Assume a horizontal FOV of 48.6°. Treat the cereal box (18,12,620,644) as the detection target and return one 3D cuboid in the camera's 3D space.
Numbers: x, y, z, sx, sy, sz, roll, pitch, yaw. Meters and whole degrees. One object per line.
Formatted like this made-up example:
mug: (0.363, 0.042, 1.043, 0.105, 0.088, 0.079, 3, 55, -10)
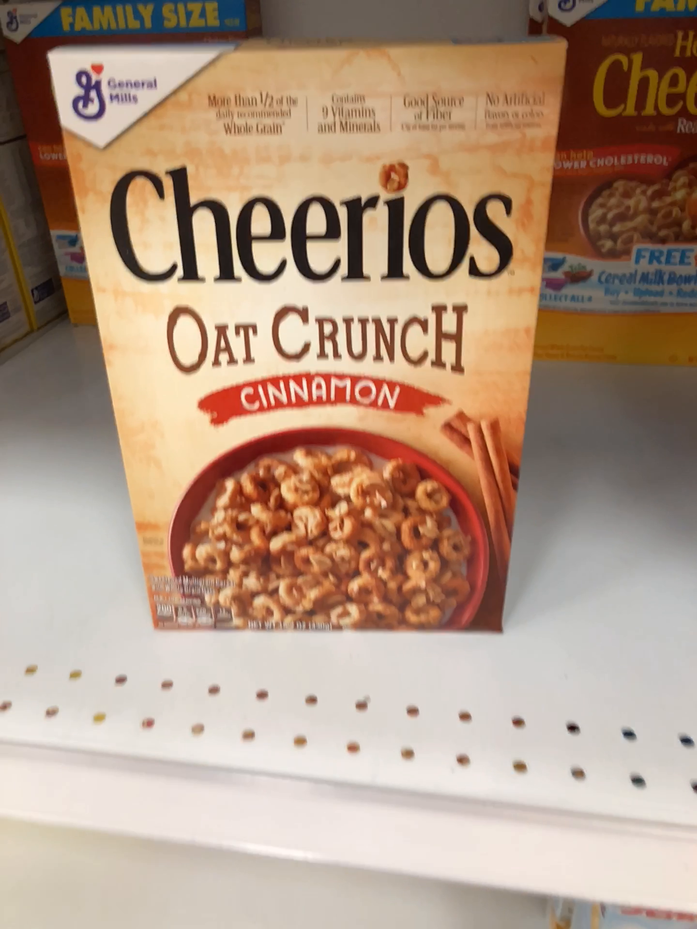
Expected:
cereal box: (-0.006, -0.039, 0.350, 0.200, 0.279, 0.050, 0, 32, 4)
